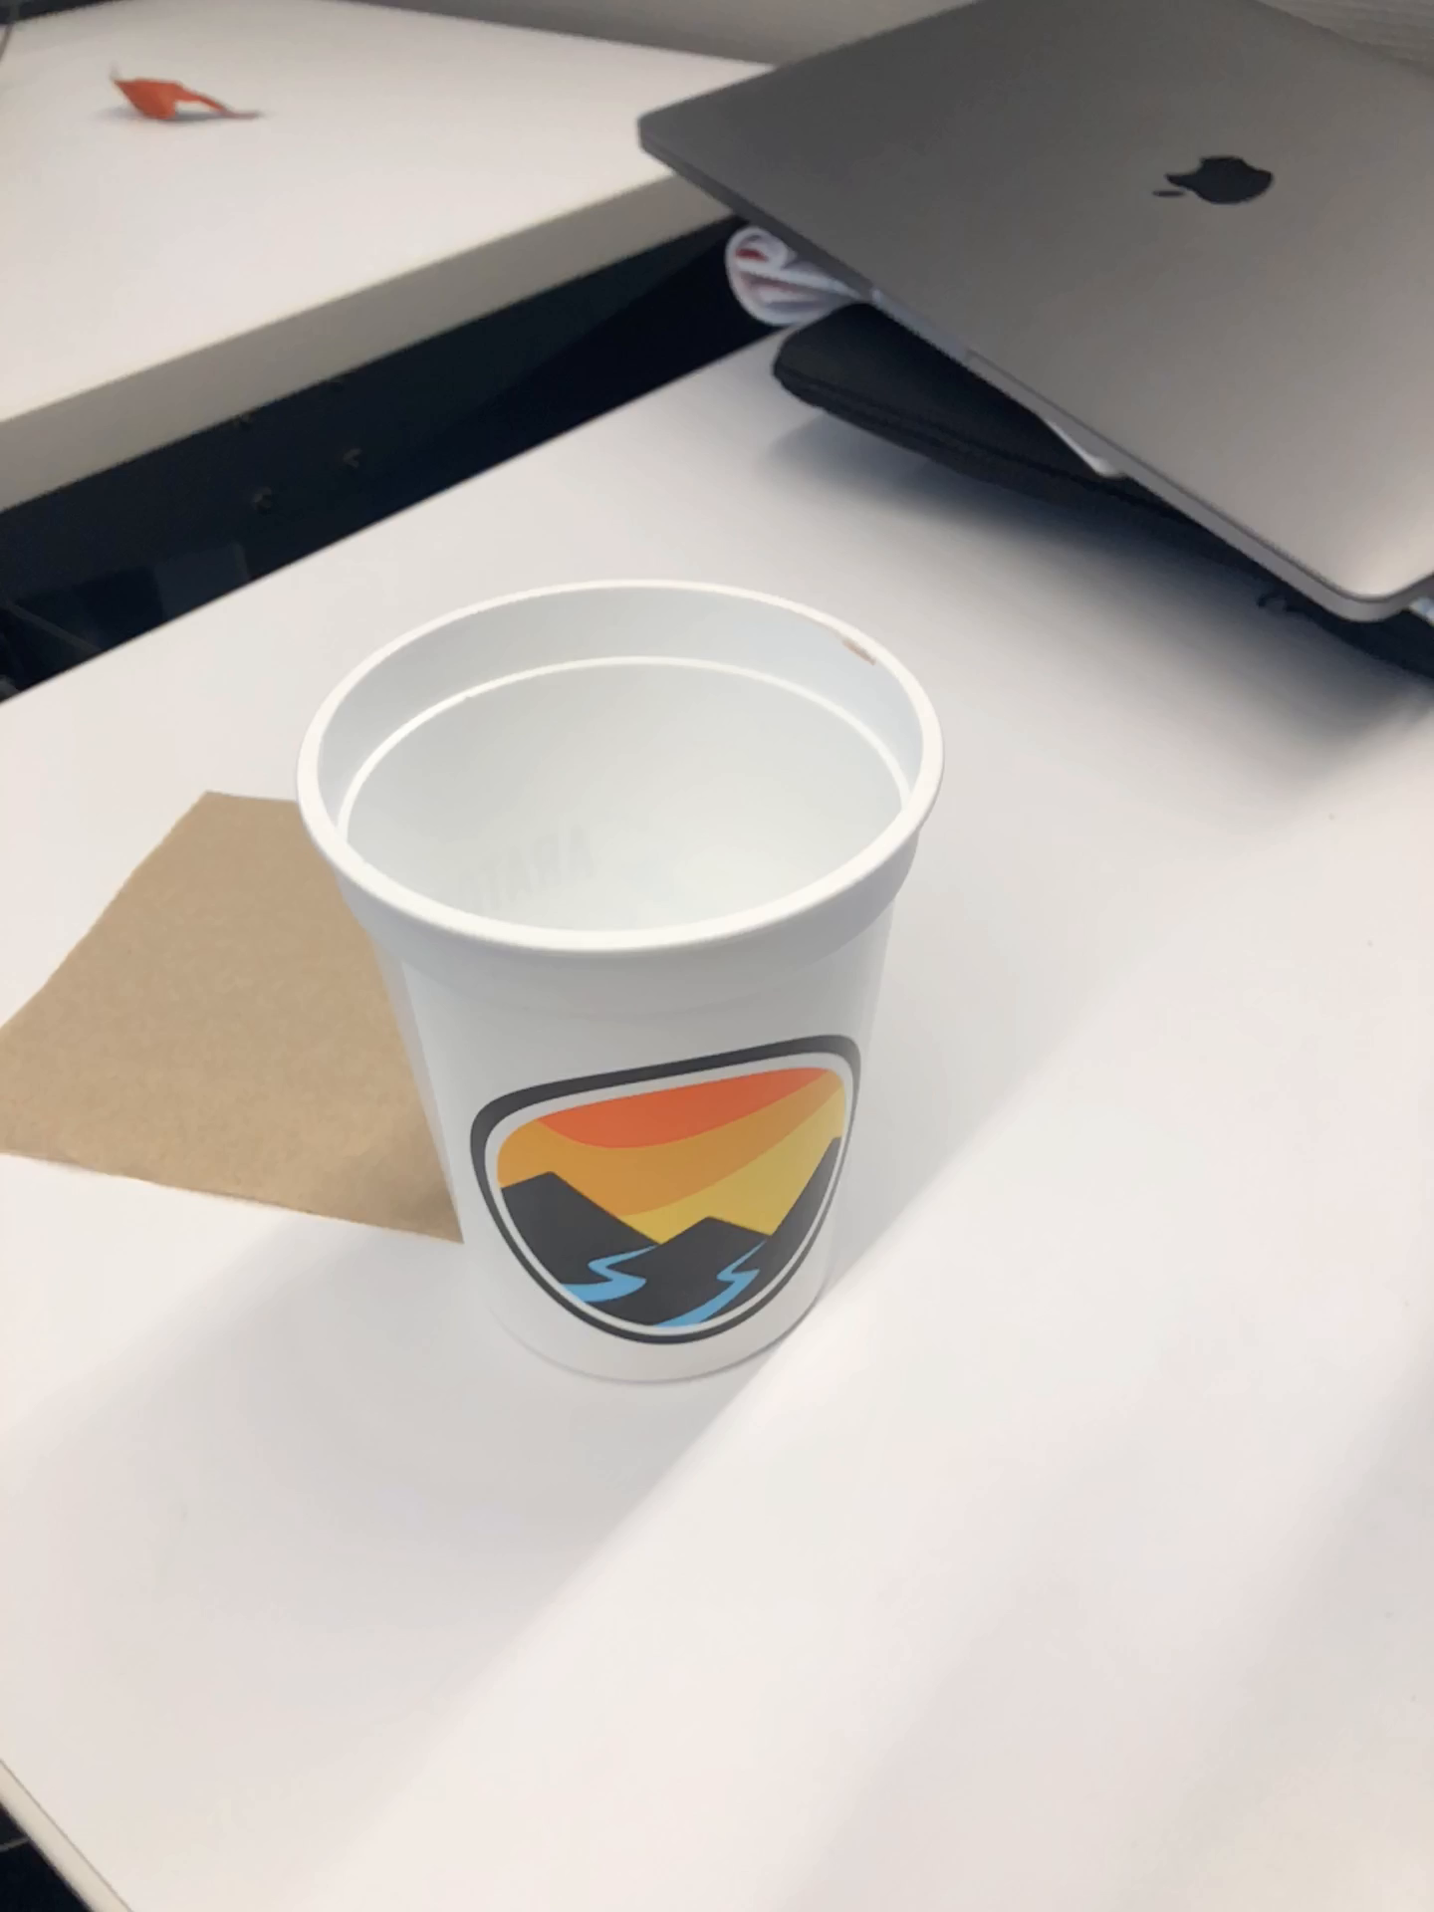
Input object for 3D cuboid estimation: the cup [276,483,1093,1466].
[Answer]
[{"bbox_3d":[-0.010,0.000,0.240,0.090,0.100,0.090,-1,40,1],"label":"cup"}]
